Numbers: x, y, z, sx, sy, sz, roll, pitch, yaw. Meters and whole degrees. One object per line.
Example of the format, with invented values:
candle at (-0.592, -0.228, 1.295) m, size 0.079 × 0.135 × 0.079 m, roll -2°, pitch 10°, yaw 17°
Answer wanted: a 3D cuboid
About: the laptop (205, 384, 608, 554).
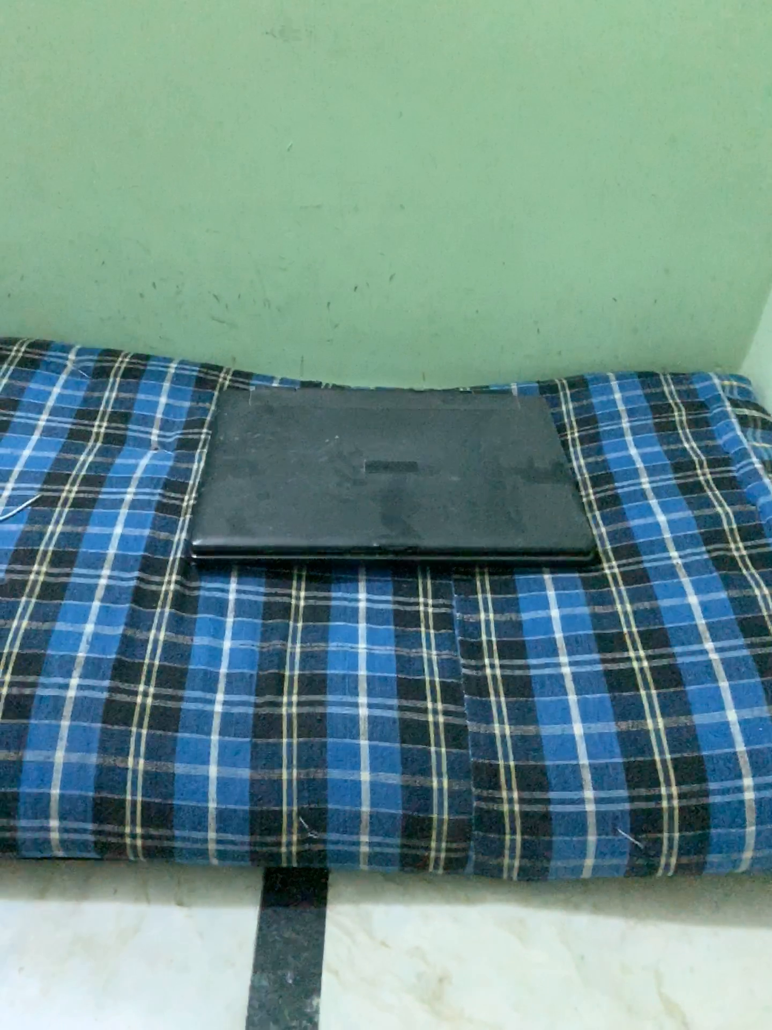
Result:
laptop at (0.017, -0.049, 0.710) m, size 0.323 × 0.005 × 0.217 m, roll 2°, pitch 42°, yaw -2°
